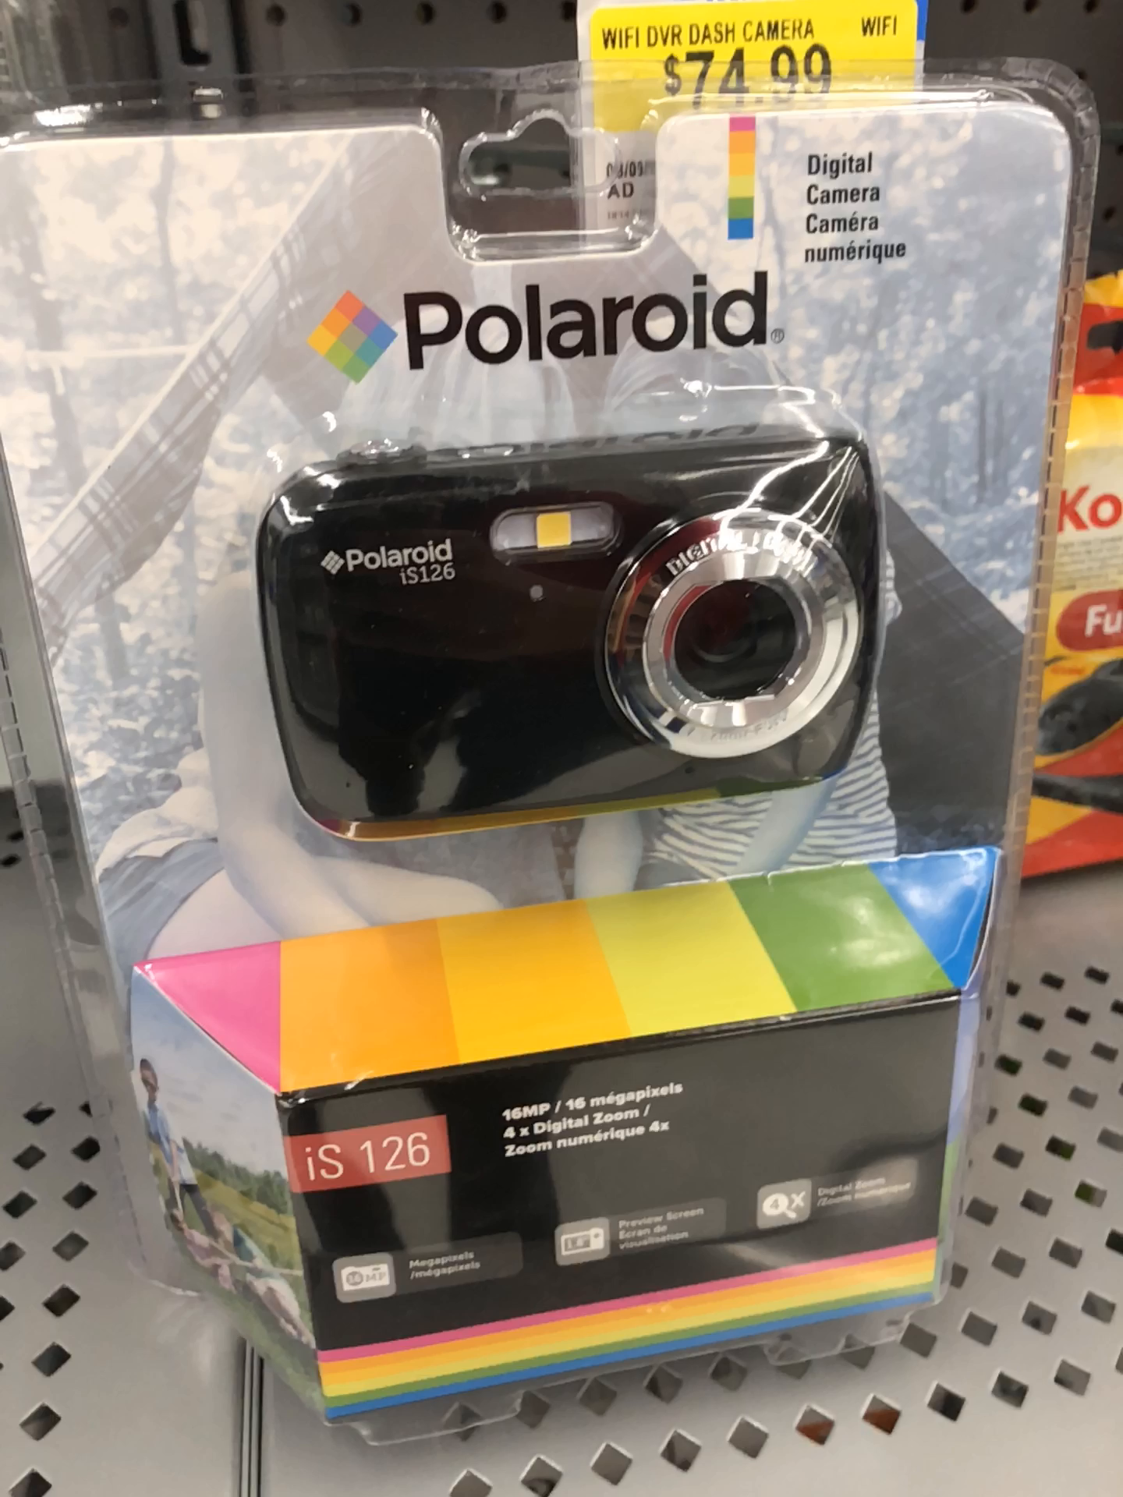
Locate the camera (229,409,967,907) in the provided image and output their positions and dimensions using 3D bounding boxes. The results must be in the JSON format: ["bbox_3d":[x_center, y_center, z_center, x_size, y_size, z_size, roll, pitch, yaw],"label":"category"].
[{"bbox_3d":[0.004,-0.015,0.196,0.100,0.060,0.030,-7,34,-9],"label":"camera"}]
